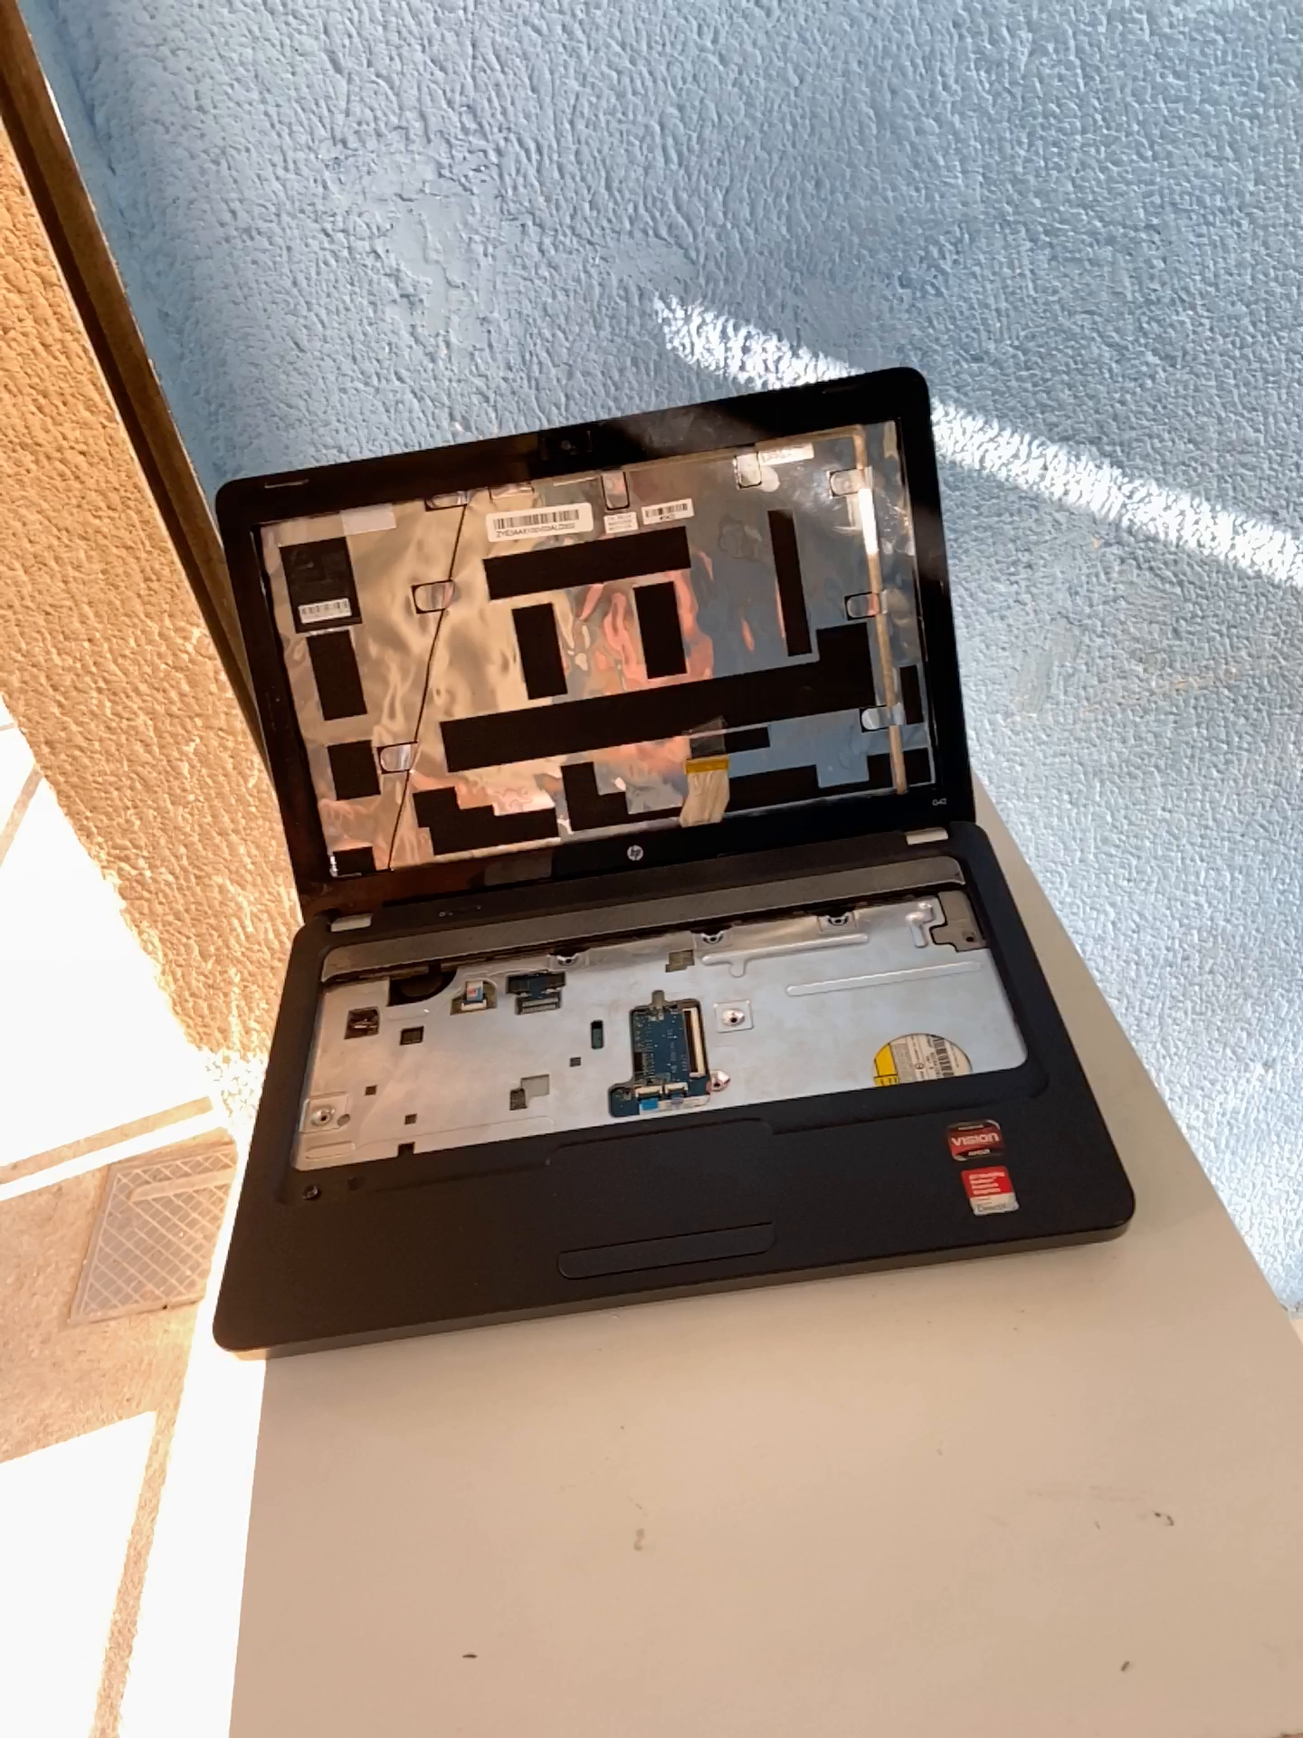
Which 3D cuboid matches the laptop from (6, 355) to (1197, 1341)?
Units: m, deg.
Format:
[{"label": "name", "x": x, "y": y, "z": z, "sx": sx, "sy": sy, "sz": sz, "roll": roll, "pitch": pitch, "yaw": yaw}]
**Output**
[{"label": "laptop", "x": -0.018, "y": -0.034, "z": 0.560, "sx": 0.338, "sy": 0.179, "sz": 0.351, "roll": -8, "pitch": 41, "yaw": 2}]
